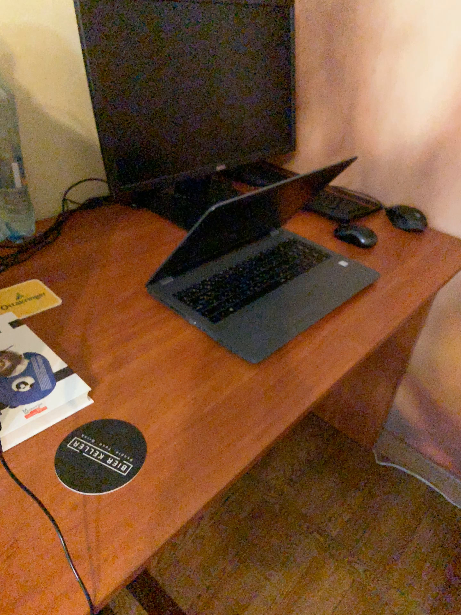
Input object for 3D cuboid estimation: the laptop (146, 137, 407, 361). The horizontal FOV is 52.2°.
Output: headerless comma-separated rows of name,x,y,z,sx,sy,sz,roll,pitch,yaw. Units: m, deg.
laptop,0.078,-0.125,0.781,0.232,0.191,0.361,31,42,30
